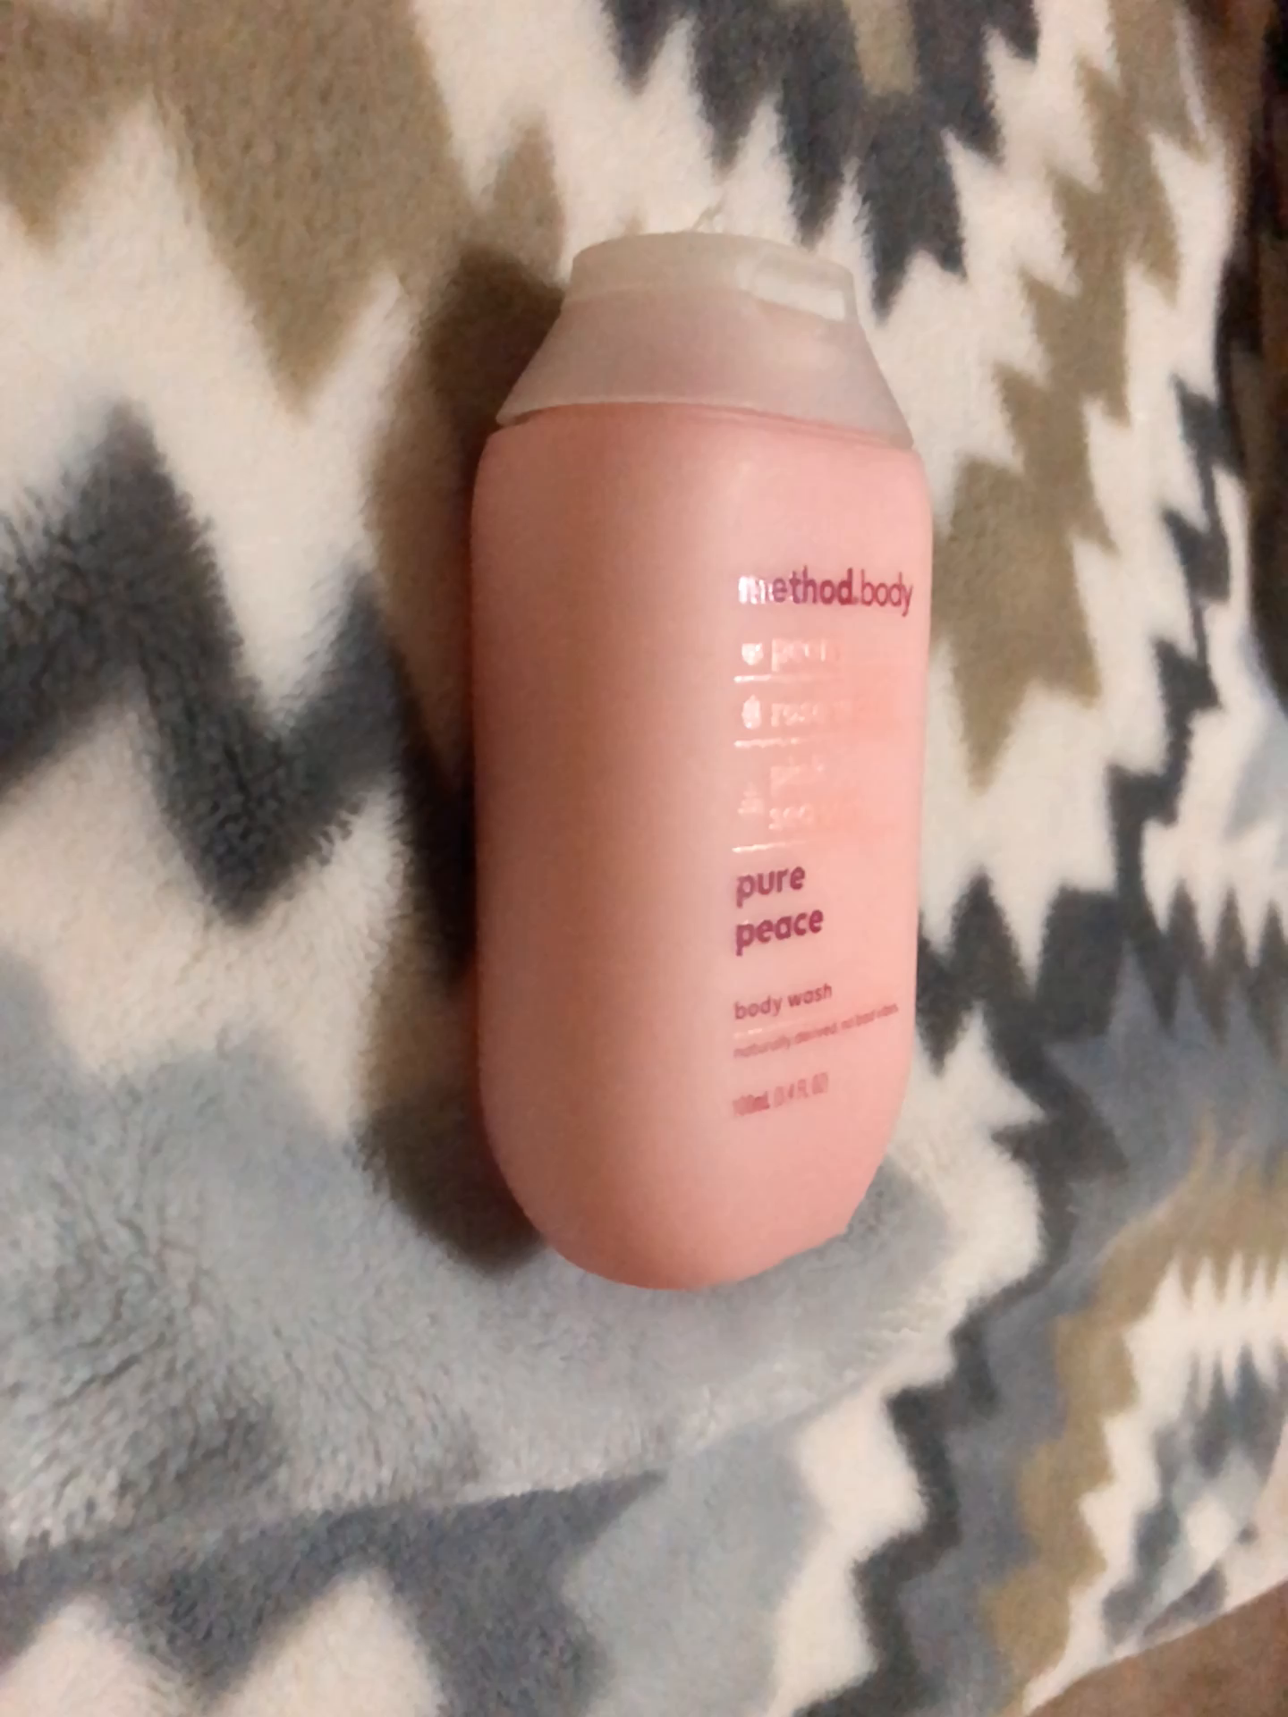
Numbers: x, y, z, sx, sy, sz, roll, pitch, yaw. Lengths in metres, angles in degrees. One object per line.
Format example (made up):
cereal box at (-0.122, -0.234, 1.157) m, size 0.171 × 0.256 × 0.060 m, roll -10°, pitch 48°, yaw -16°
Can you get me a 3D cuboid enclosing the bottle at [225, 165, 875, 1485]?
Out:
bottle at (-0.008, -0.003, 0.152) m, size 0.057 × 0.030 × 0.110 m, roll -2°, pitch 98°, yaw -52°
